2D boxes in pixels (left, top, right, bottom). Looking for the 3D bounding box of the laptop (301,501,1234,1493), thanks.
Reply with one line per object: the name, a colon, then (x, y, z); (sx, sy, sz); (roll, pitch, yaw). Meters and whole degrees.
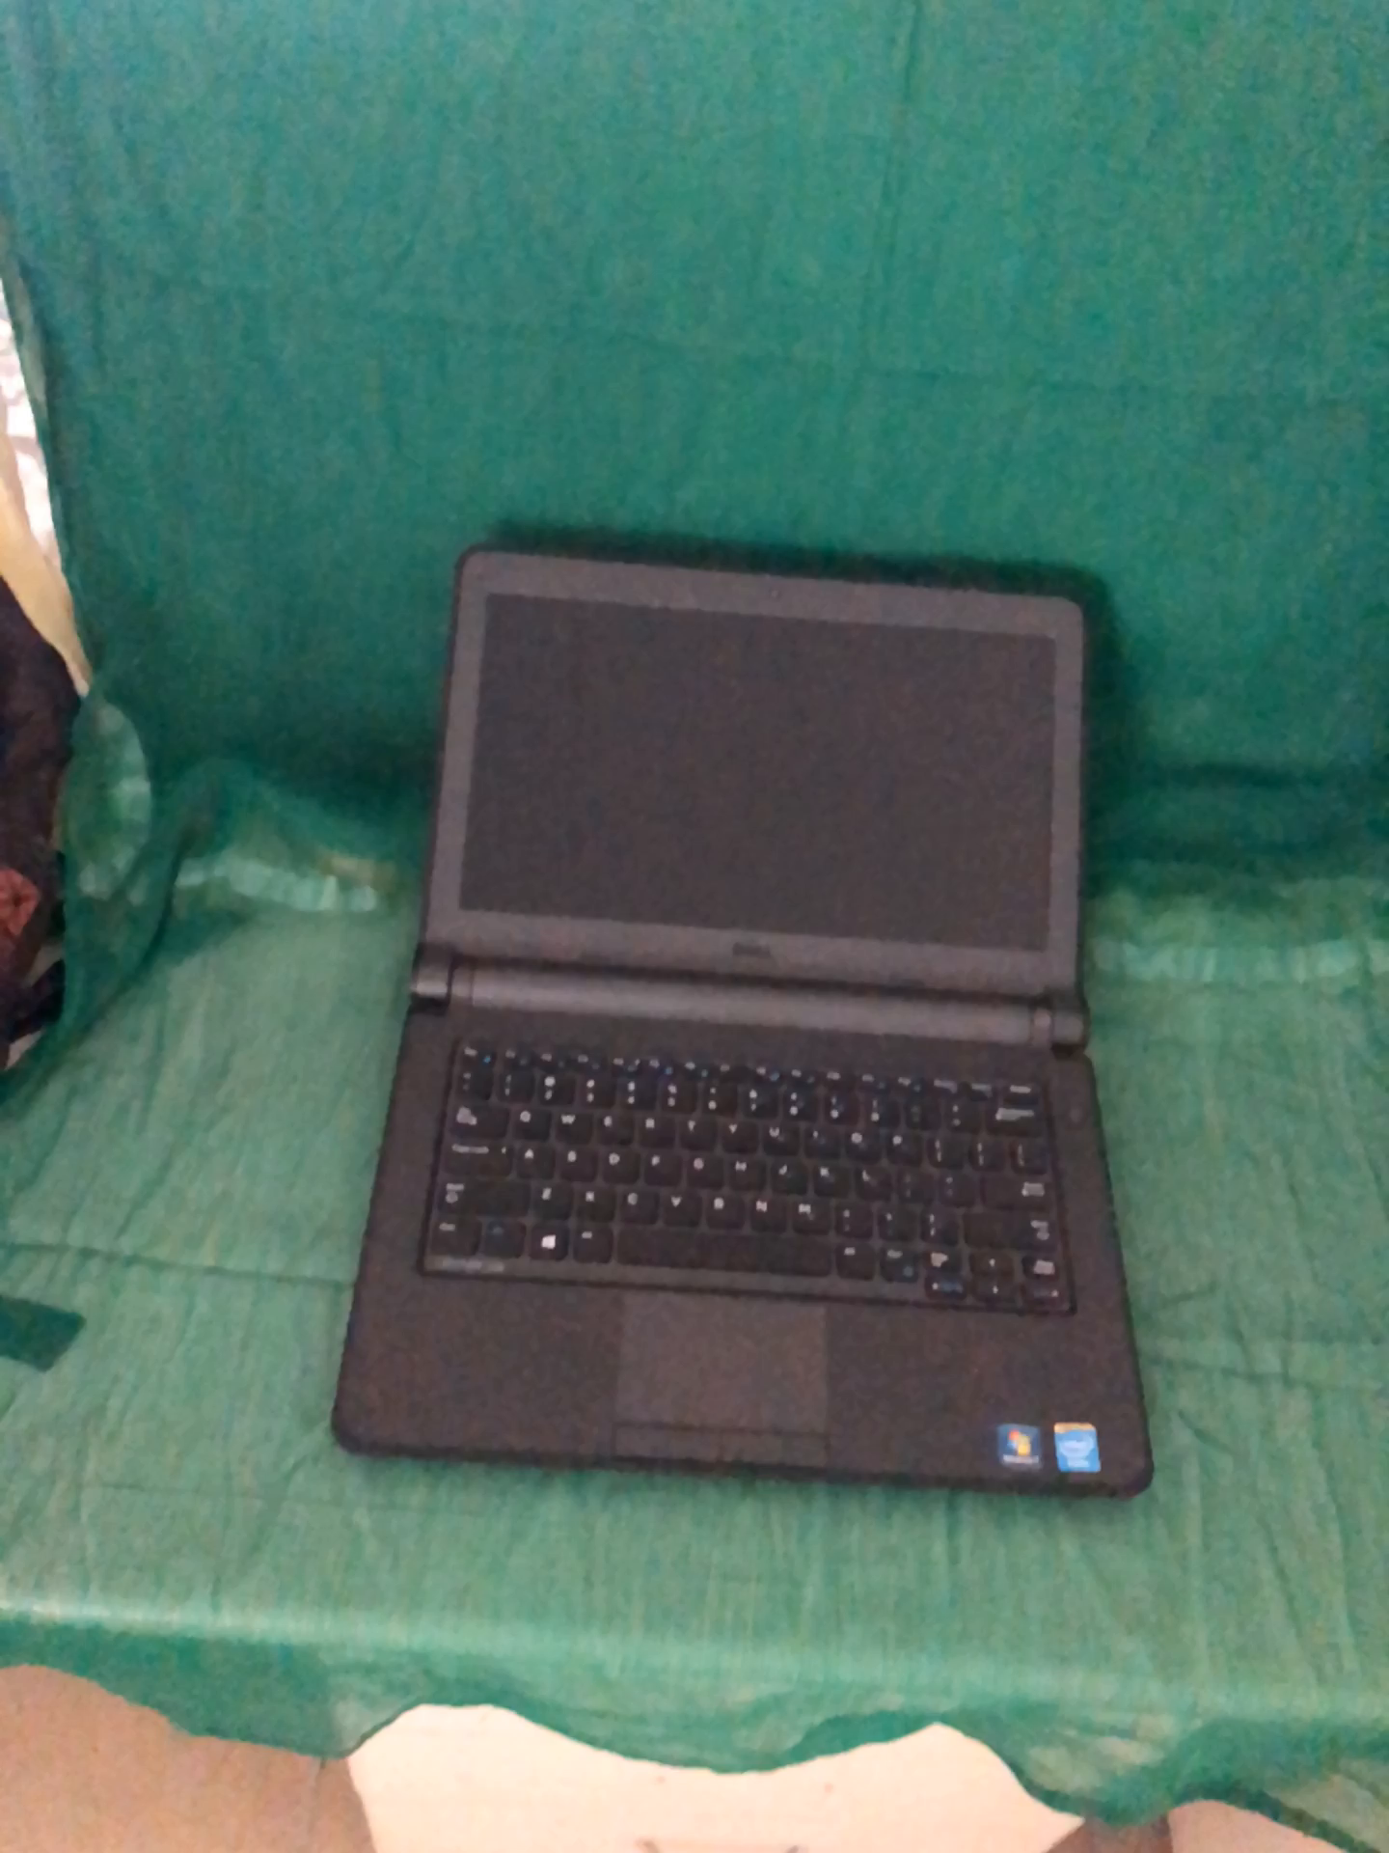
laptop: (0.031, 0.004, 0.669); (0.311, 0.096, 0.421); (4, 53, -2)
